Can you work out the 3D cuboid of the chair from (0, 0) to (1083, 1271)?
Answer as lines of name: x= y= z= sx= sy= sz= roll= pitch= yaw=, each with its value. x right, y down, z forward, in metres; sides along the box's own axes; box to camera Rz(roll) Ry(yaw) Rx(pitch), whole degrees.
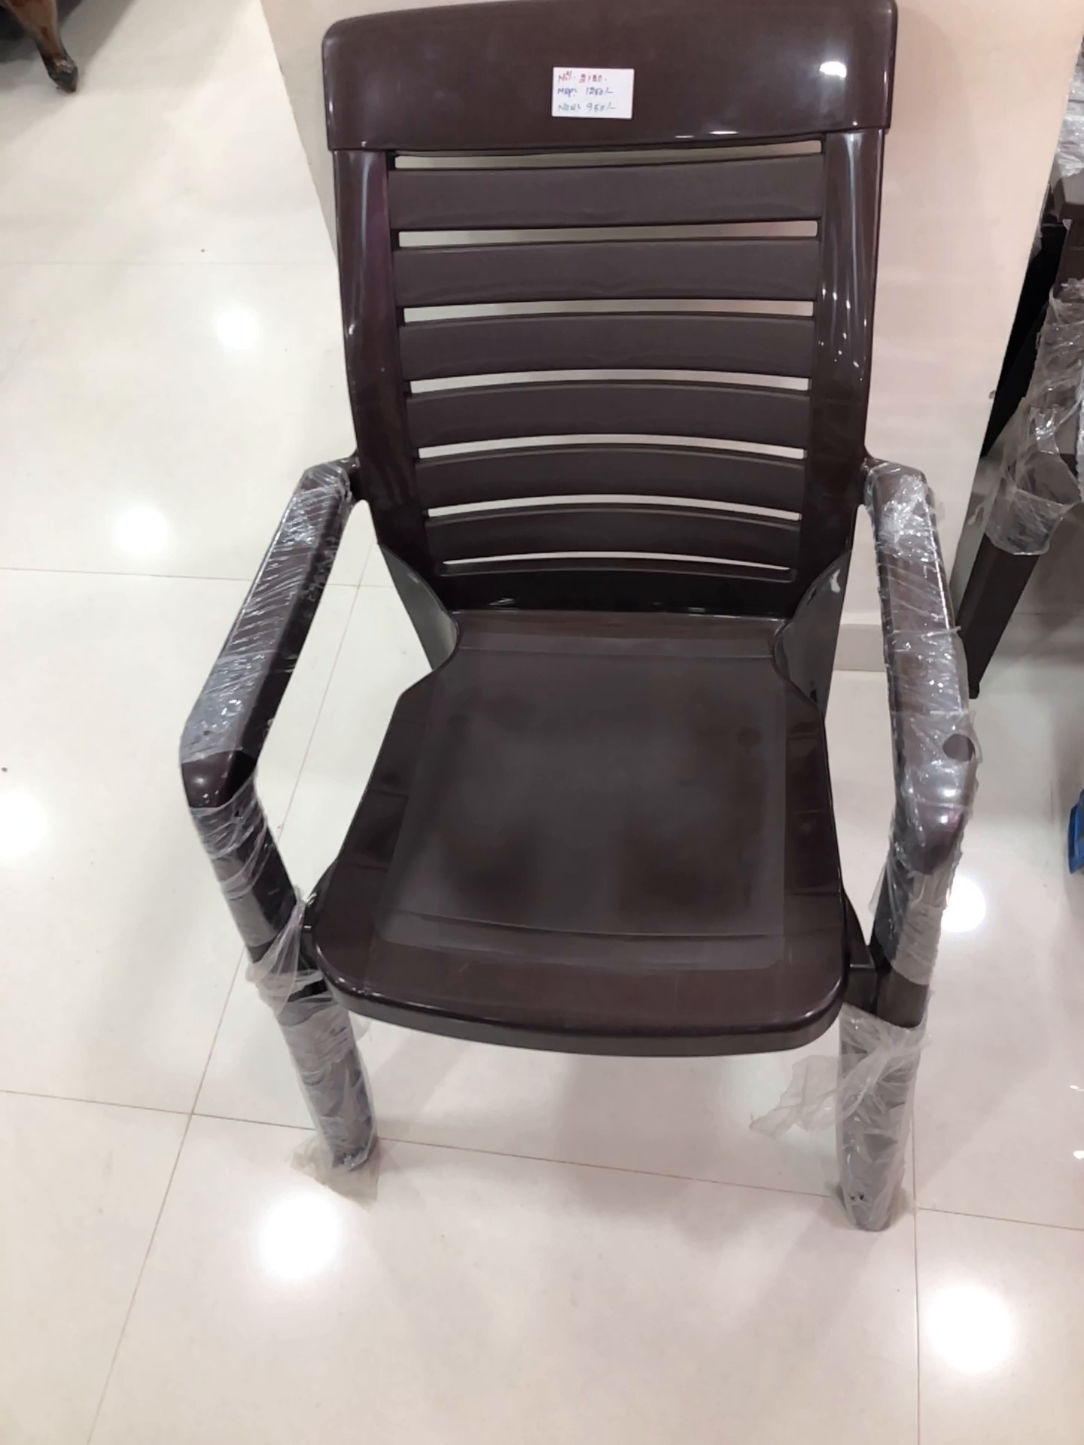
chair: x=0.046 y=-0.021 z=1.104 sx=0.640 sy=1.005 sz=0.674 roll=3 pitch=52 yaw=9
